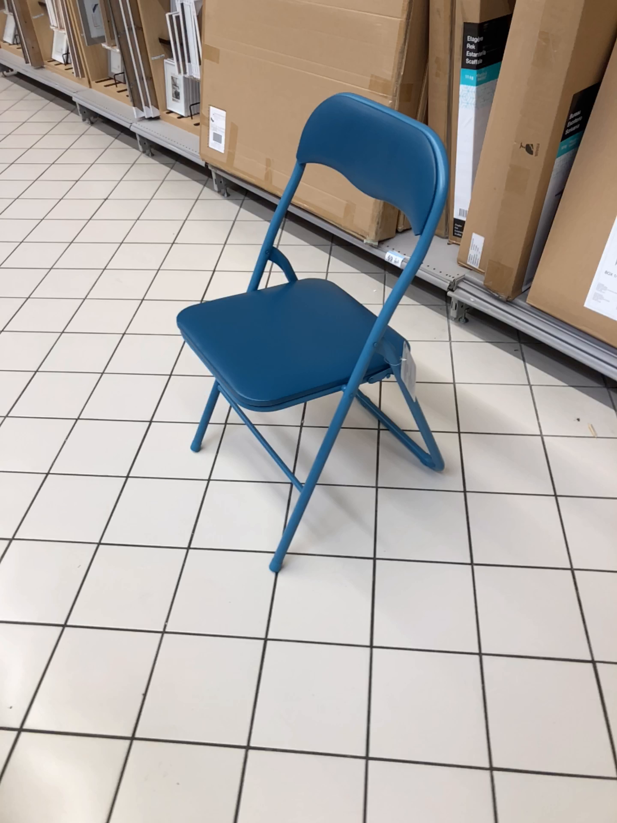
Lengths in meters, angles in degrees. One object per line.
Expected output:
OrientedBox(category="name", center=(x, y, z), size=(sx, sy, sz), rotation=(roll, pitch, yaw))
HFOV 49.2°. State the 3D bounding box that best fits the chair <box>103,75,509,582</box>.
OrientedBox(category="chair", center=(-0.014, -0.173, 1.368), size=(0.501, 0.766, 0.501), rotation=(-21, 43, -20))
